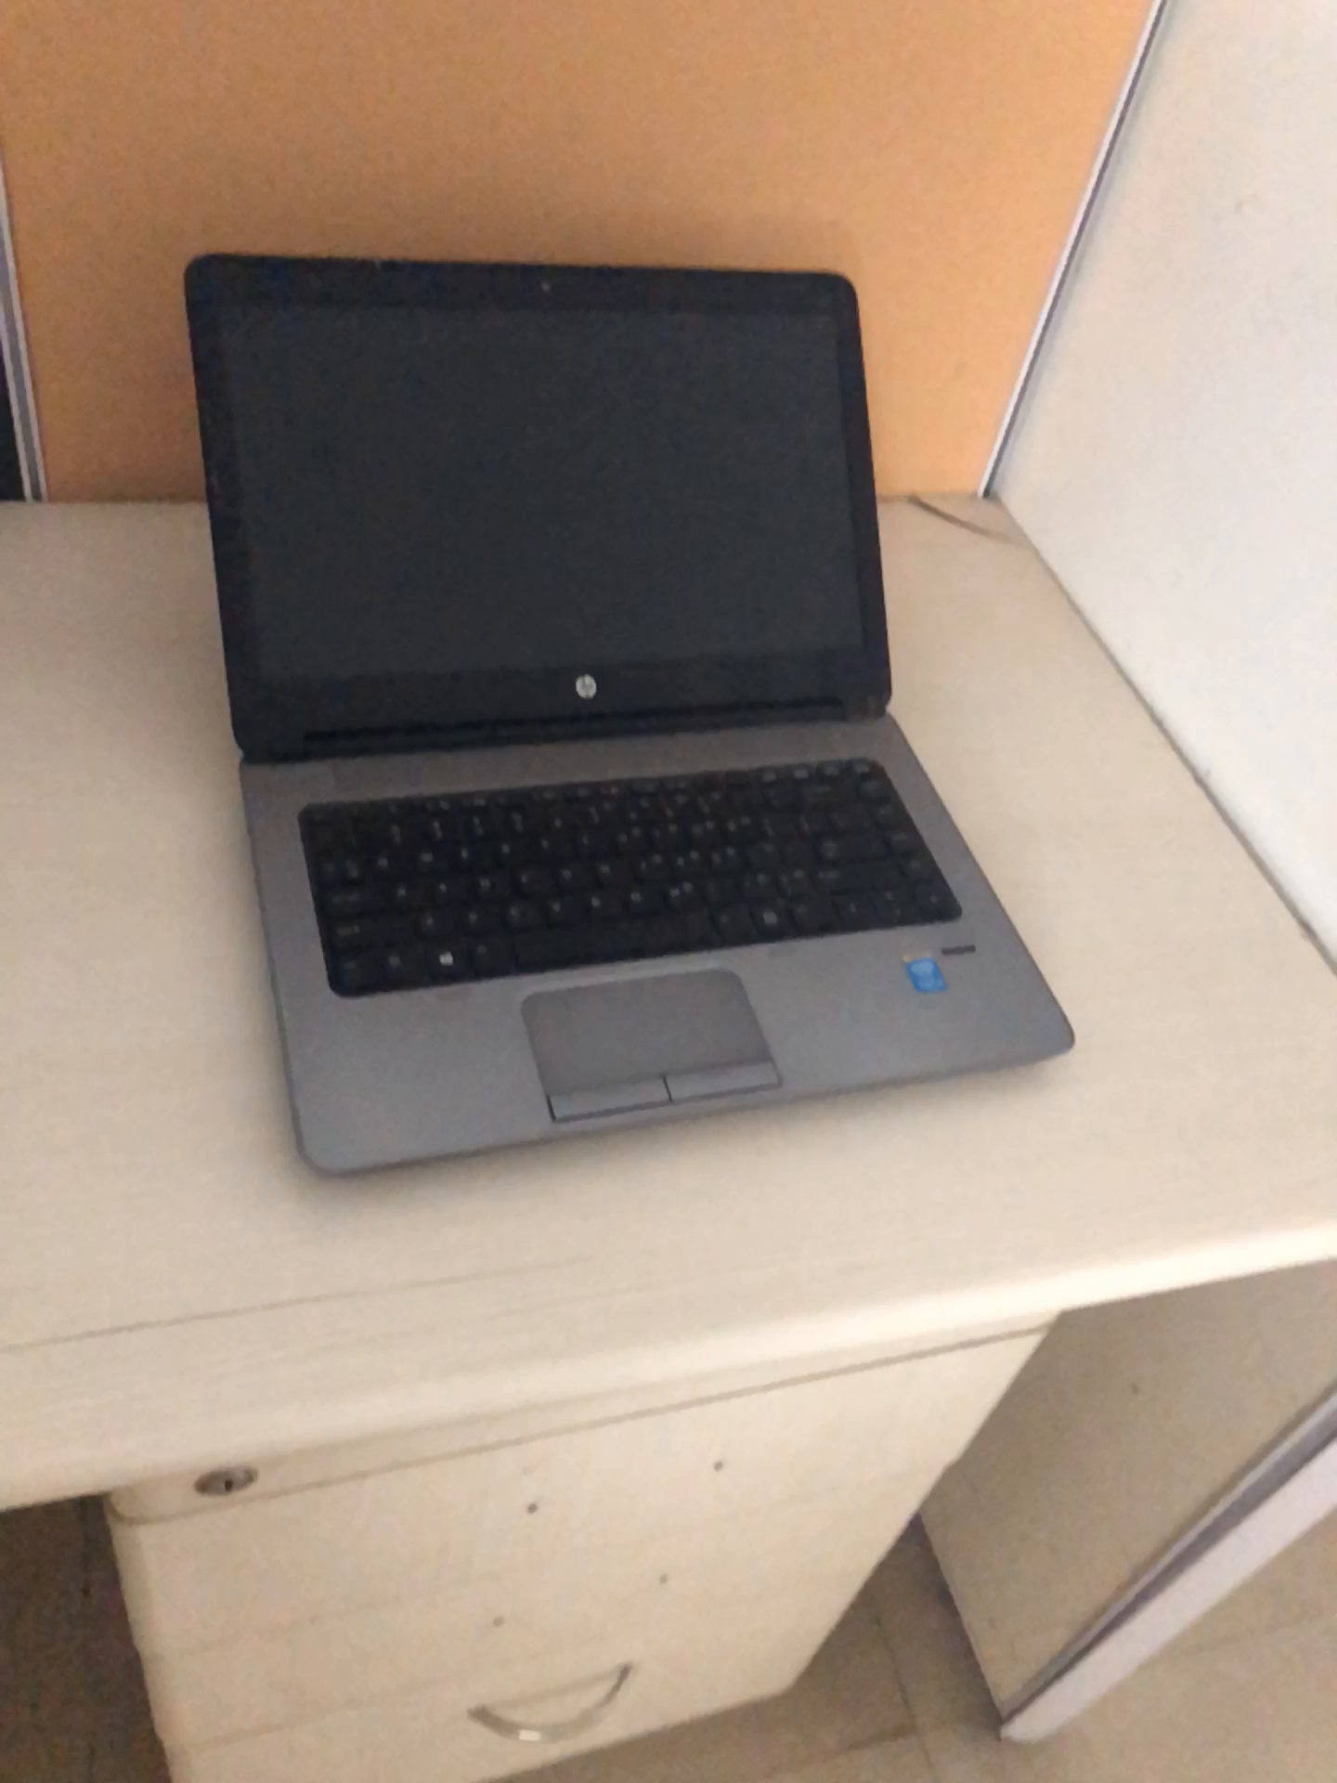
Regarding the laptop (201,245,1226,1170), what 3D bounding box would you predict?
[{"bbox_3d":[-0.016,-0.111,0.662,0.324,0.167,0.373,-7,50,-20],"label":"laptop"}]
